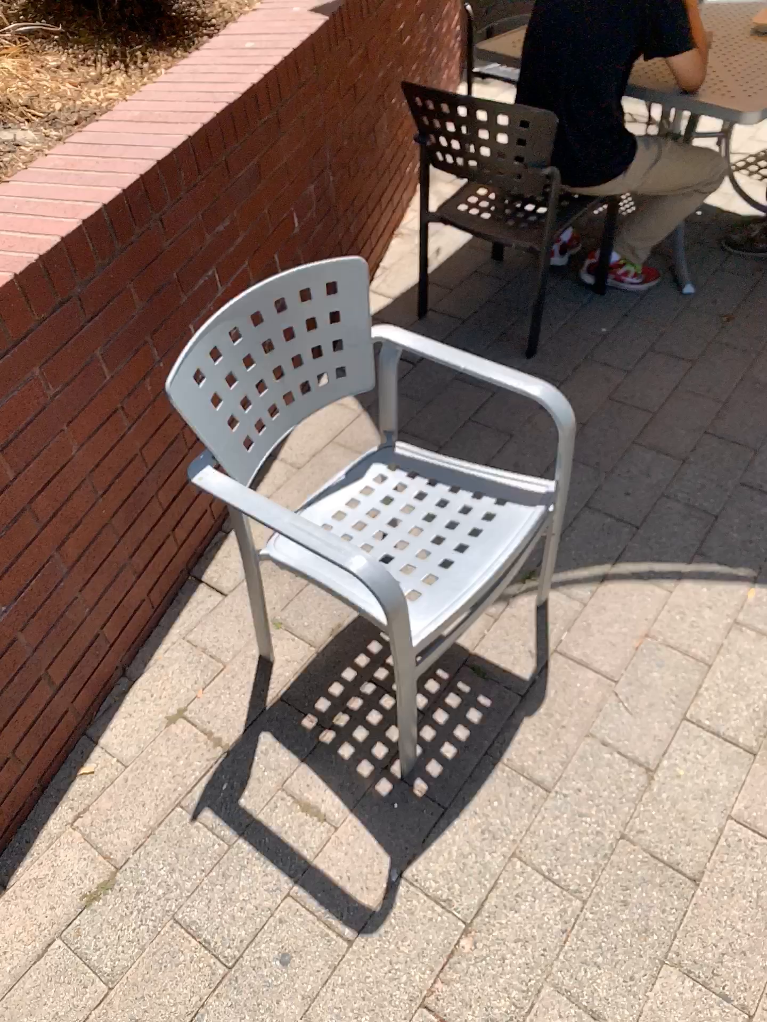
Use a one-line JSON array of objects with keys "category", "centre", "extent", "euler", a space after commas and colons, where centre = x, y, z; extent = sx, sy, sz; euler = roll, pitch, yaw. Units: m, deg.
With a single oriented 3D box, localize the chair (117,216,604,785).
[{"category": "chair", "centre": [0.005, -0.023, 1.442], "extent": [0.493, 0.718, 0.558], "euler": [25, 53, 28]}]
